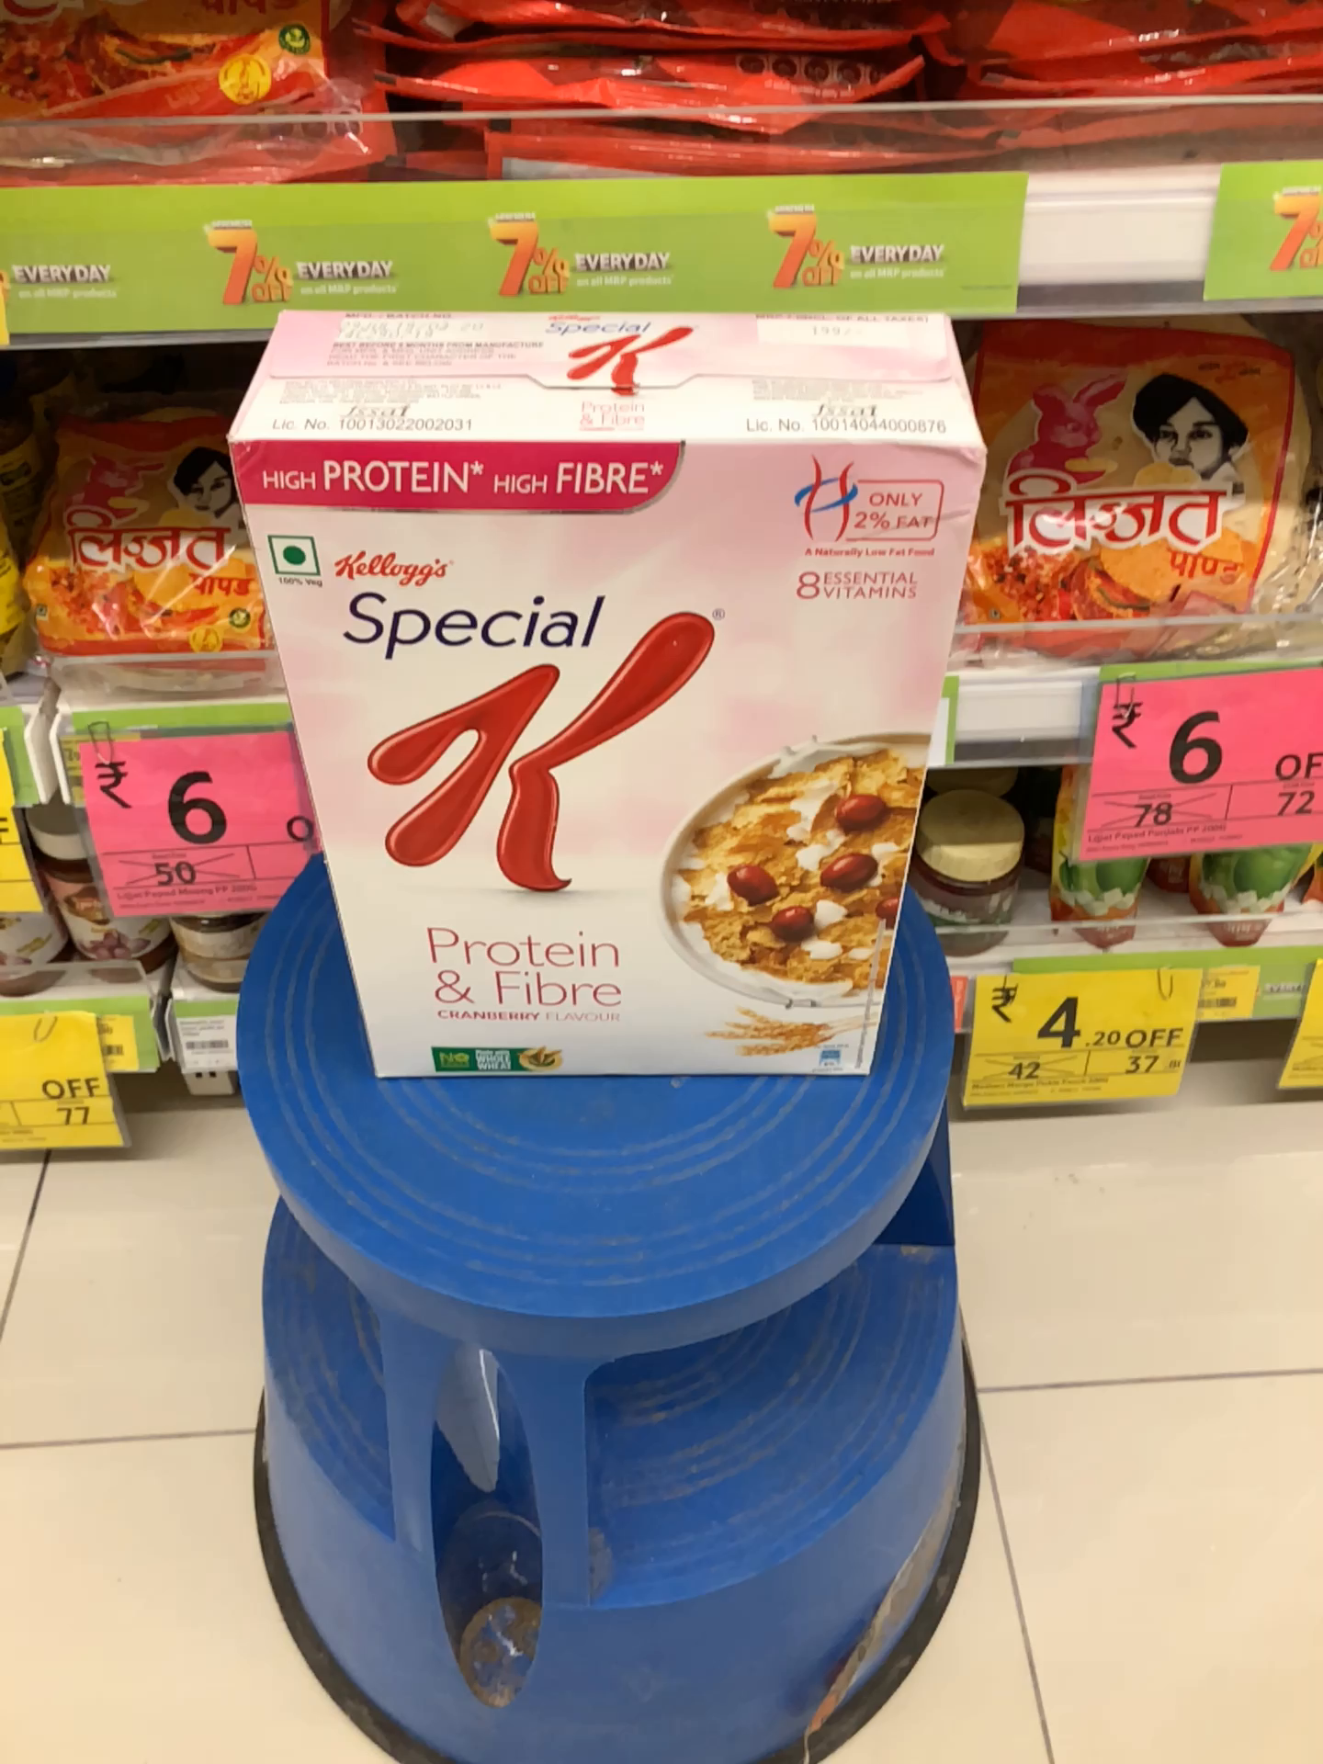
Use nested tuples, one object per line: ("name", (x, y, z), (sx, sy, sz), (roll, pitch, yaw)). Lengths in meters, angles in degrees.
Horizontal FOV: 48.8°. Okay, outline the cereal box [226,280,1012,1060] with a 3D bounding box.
("cereal box", (-0.008, -0.047, 0.449), (0.180, 0.248, 0.070), (0, 48, 1))
